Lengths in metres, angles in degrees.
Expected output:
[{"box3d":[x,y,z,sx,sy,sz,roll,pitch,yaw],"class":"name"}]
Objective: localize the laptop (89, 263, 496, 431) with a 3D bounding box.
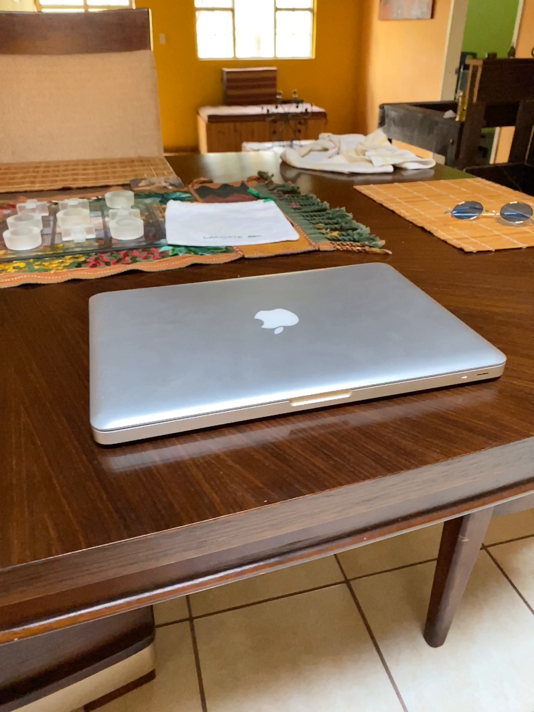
[{"box3d":[0.003,-0.029,0.514,0.324,0.002,0.233,-9,31,-14],"class":"laptop"}]
